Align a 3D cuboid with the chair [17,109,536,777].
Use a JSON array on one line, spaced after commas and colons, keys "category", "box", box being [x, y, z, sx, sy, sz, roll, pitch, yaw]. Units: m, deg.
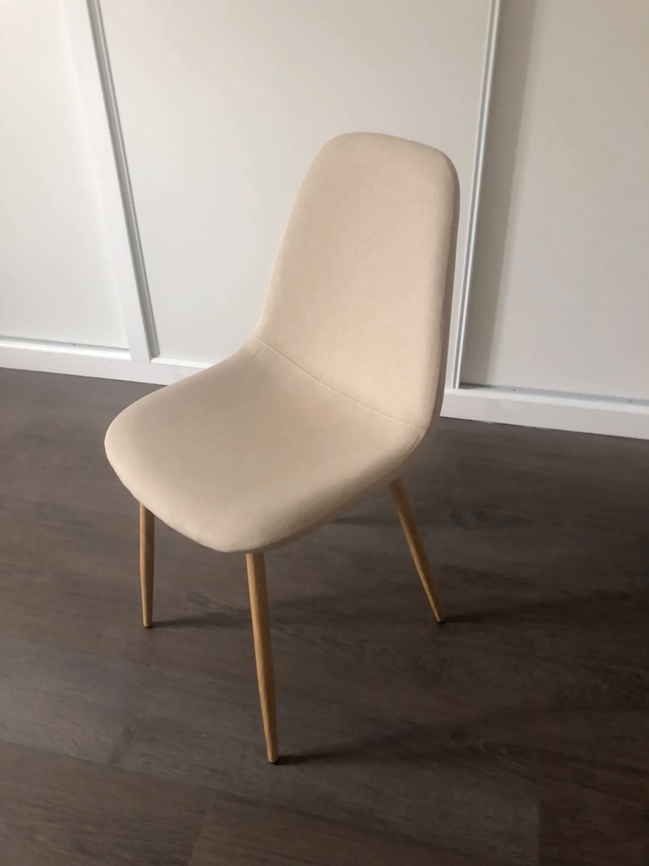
[{"category": "chair", "box": [-0.054, 0.003, 1.140, 0.502, 0.845, 0.431, -27, 42, -32]}]
